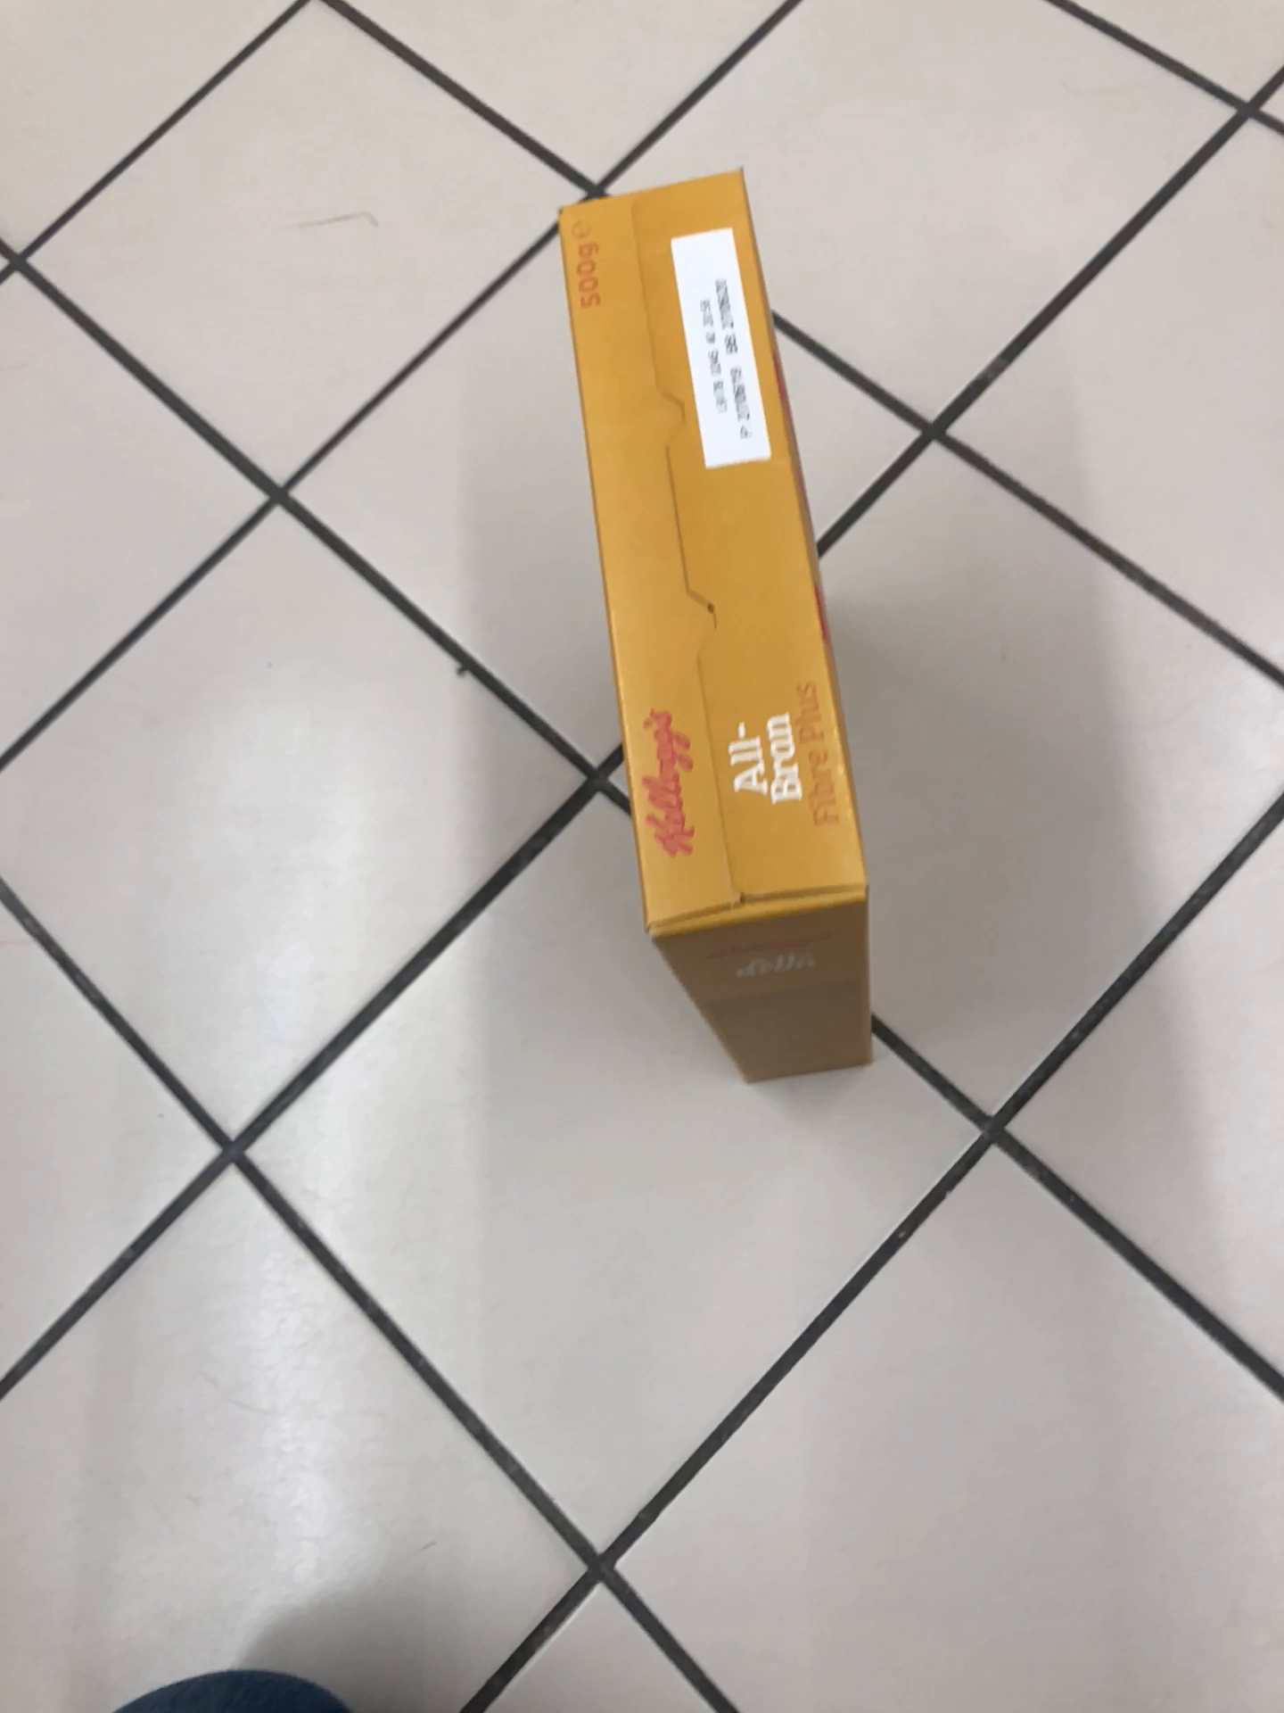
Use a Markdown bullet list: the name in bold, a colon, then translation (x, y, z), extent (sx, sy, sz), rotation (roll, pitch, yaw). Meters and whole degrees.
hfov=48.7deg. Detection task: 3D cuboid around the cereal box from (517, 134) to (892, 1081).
- **cereal box**: translation (0.027, -0.045, 0.428), extent (0.060, 0.240, 0.190), rotation (-9, 73, 6)
